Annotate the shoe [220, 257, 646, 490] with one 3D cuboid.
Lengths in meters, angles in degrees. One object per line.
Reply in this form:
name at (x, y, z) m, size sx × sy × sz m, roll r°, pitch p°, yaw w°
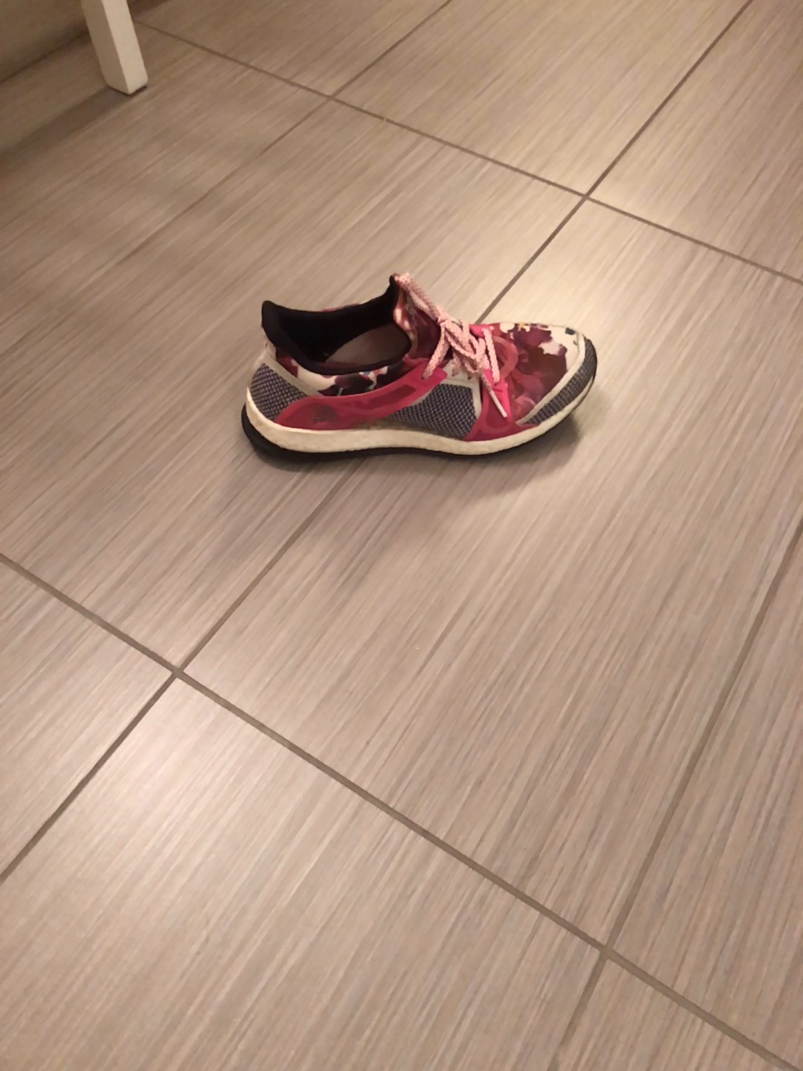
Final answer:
shoe at (0.017, -0.120, 0.648) m, size 0.280 × 0.090 × 0.110 m, roll -7°, pitch 56°, yaw -6°
